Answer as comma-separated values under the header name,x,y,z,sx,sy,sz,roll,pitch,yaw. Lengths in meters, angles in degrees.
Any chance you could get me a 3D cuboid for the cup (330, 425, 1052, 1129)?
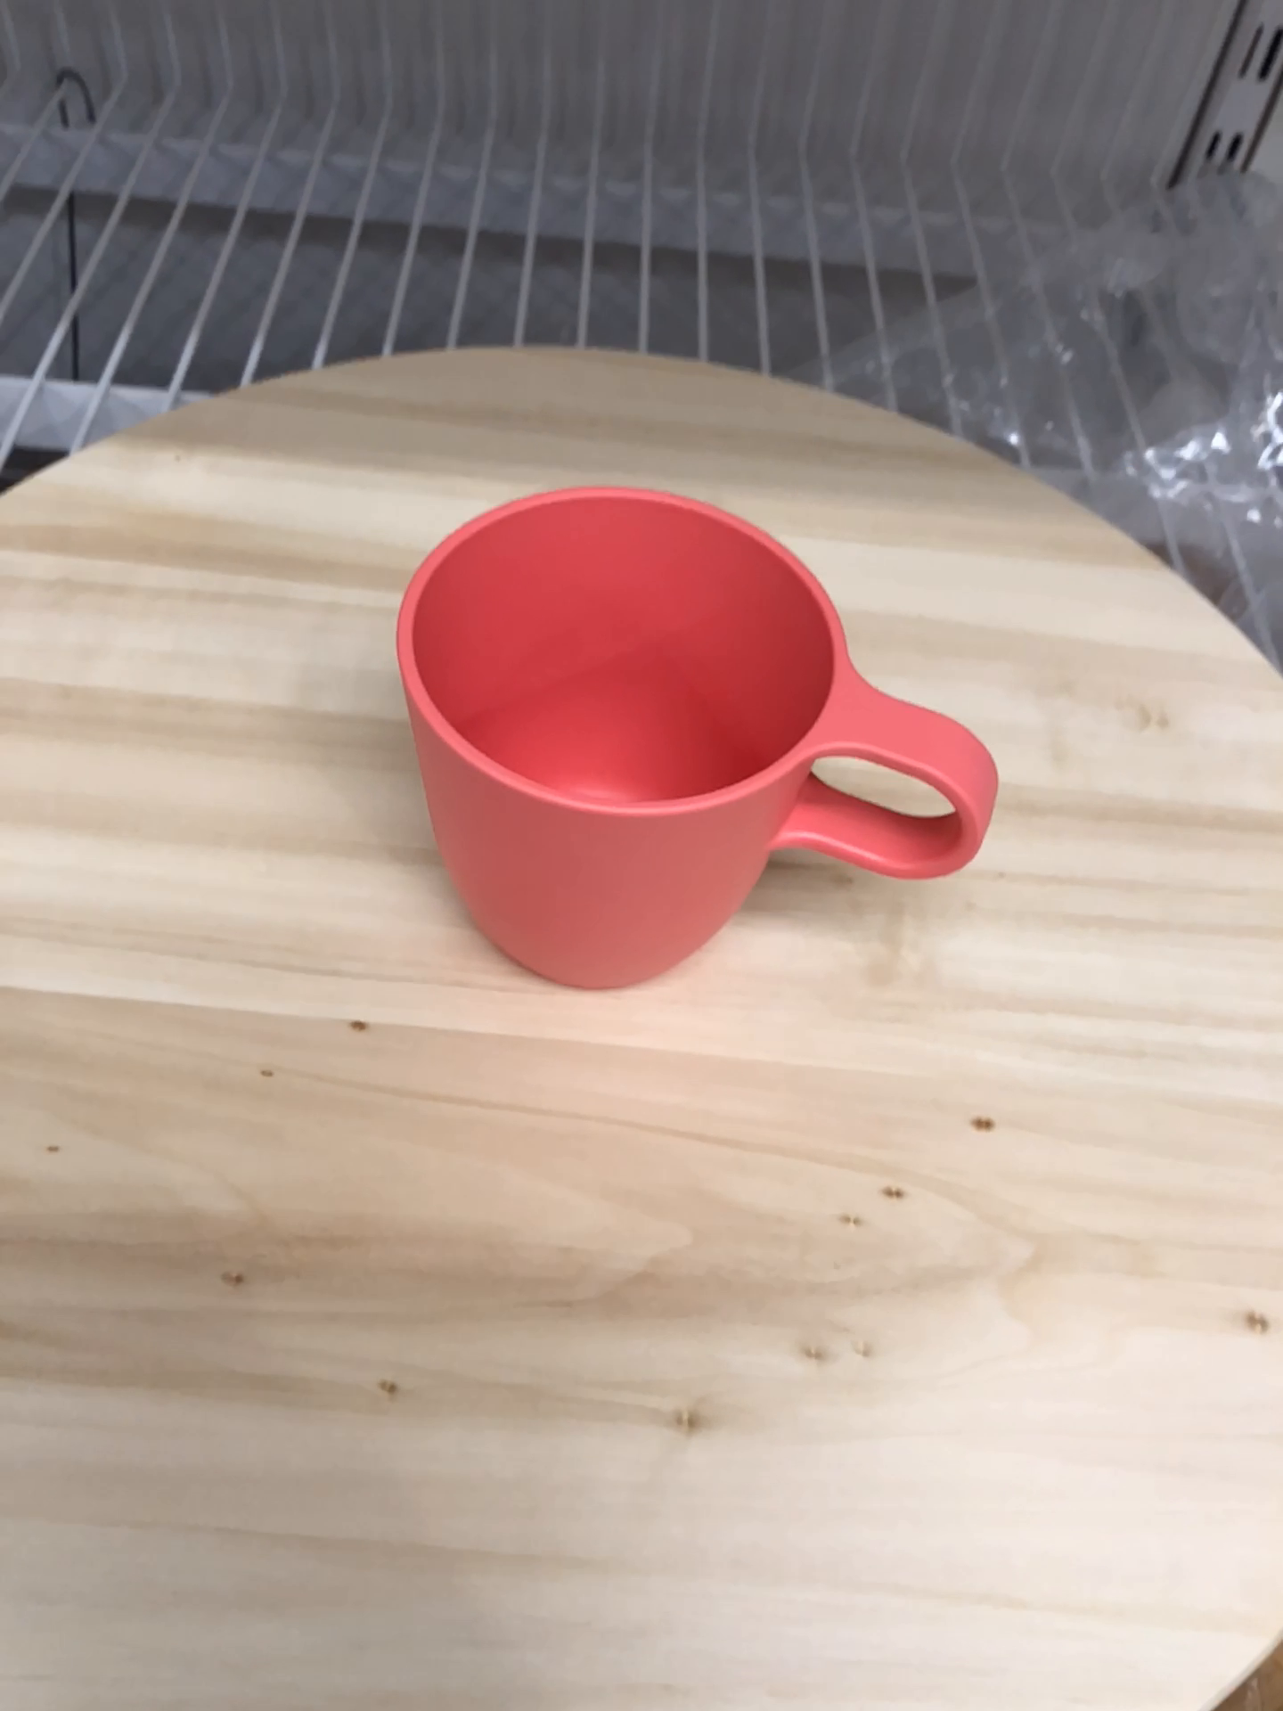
name,x,y,z,sx,sy,sz,roll,pitch,yaw
cup,0.010,-0.016,0.286,0.110,0.080,0.080,17,52,8
